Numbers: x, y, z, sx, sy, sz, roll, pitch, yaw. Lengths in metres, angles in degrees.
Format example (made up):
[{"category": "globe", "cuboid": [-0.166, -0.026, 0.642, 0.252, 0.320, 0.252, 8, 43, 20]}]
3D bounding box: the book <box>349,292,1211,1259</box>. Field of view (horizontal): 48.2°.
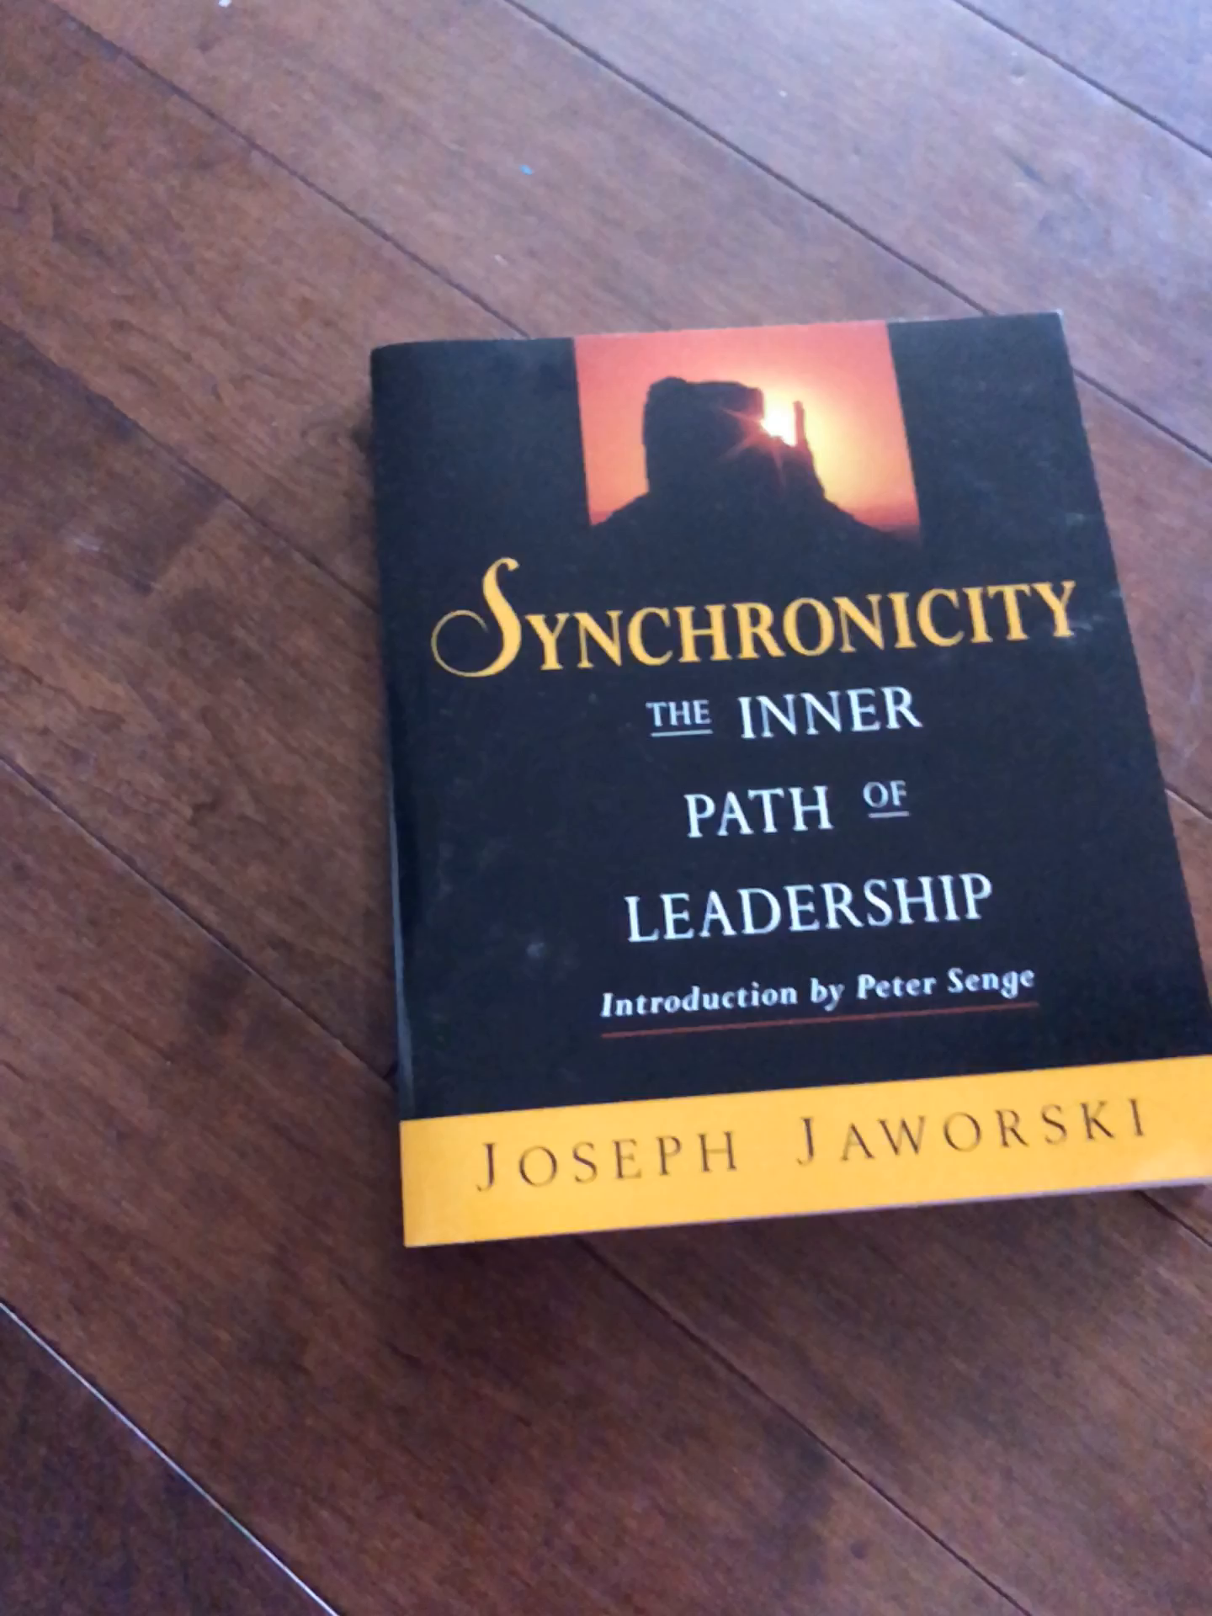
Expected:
[{"category": "book", "cuboid": [0.039, -0.017, 0.328, 0.190, 0.030, 0.222, -4, 73, -3]}]
